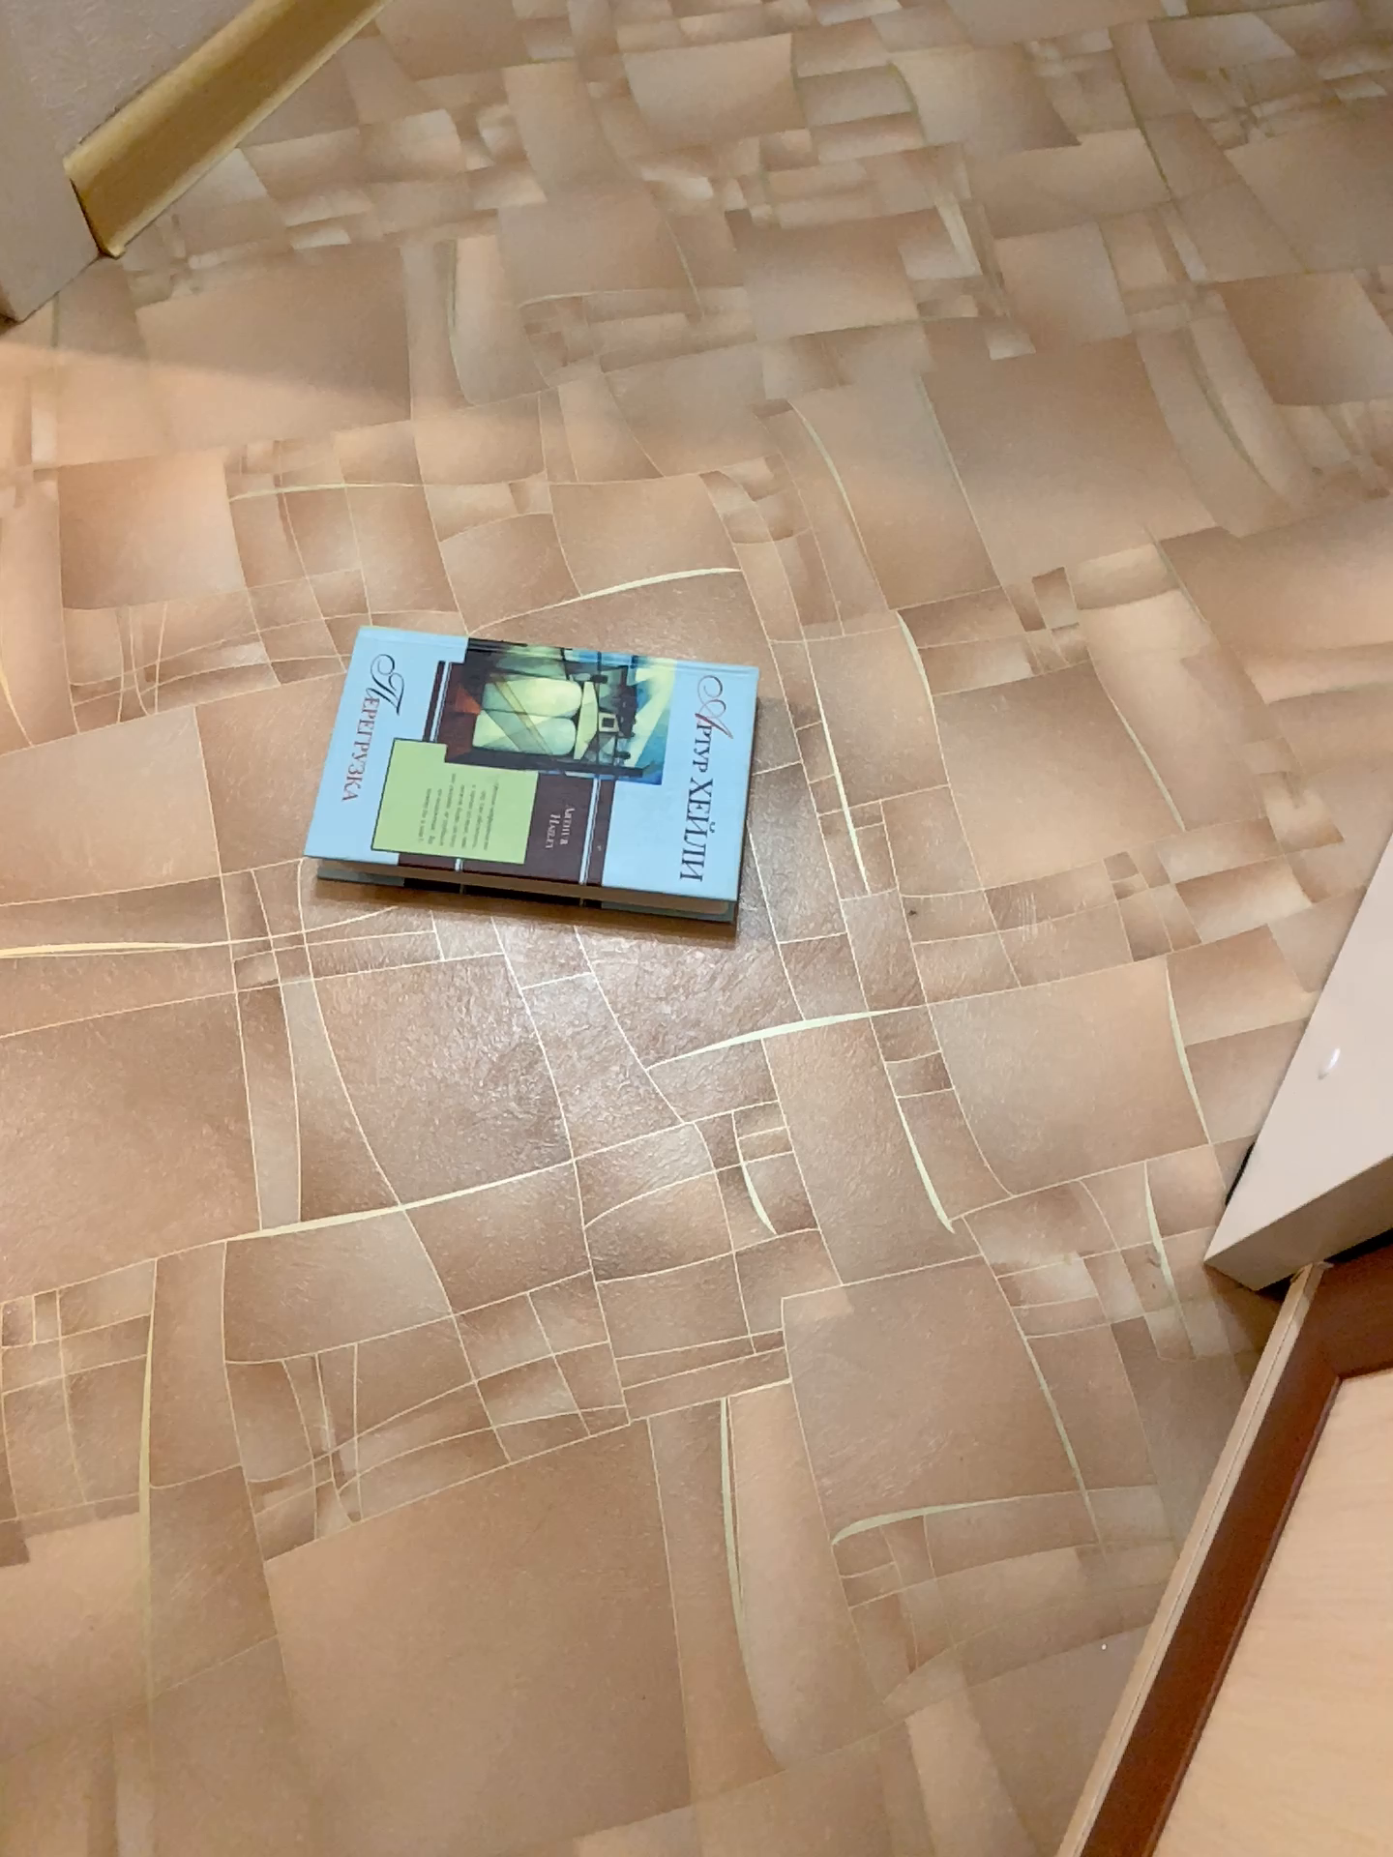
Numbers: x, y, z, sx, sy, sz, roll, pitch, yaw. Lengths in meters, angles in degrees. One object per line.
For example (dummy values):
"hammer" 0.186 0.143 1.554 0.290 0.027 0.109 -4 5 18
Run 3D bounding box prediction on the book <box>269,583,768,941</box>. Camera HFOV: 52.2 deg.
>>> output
"book" -0.078 -0.081 0.677 0.210 0.040 0.151 6 65 1
